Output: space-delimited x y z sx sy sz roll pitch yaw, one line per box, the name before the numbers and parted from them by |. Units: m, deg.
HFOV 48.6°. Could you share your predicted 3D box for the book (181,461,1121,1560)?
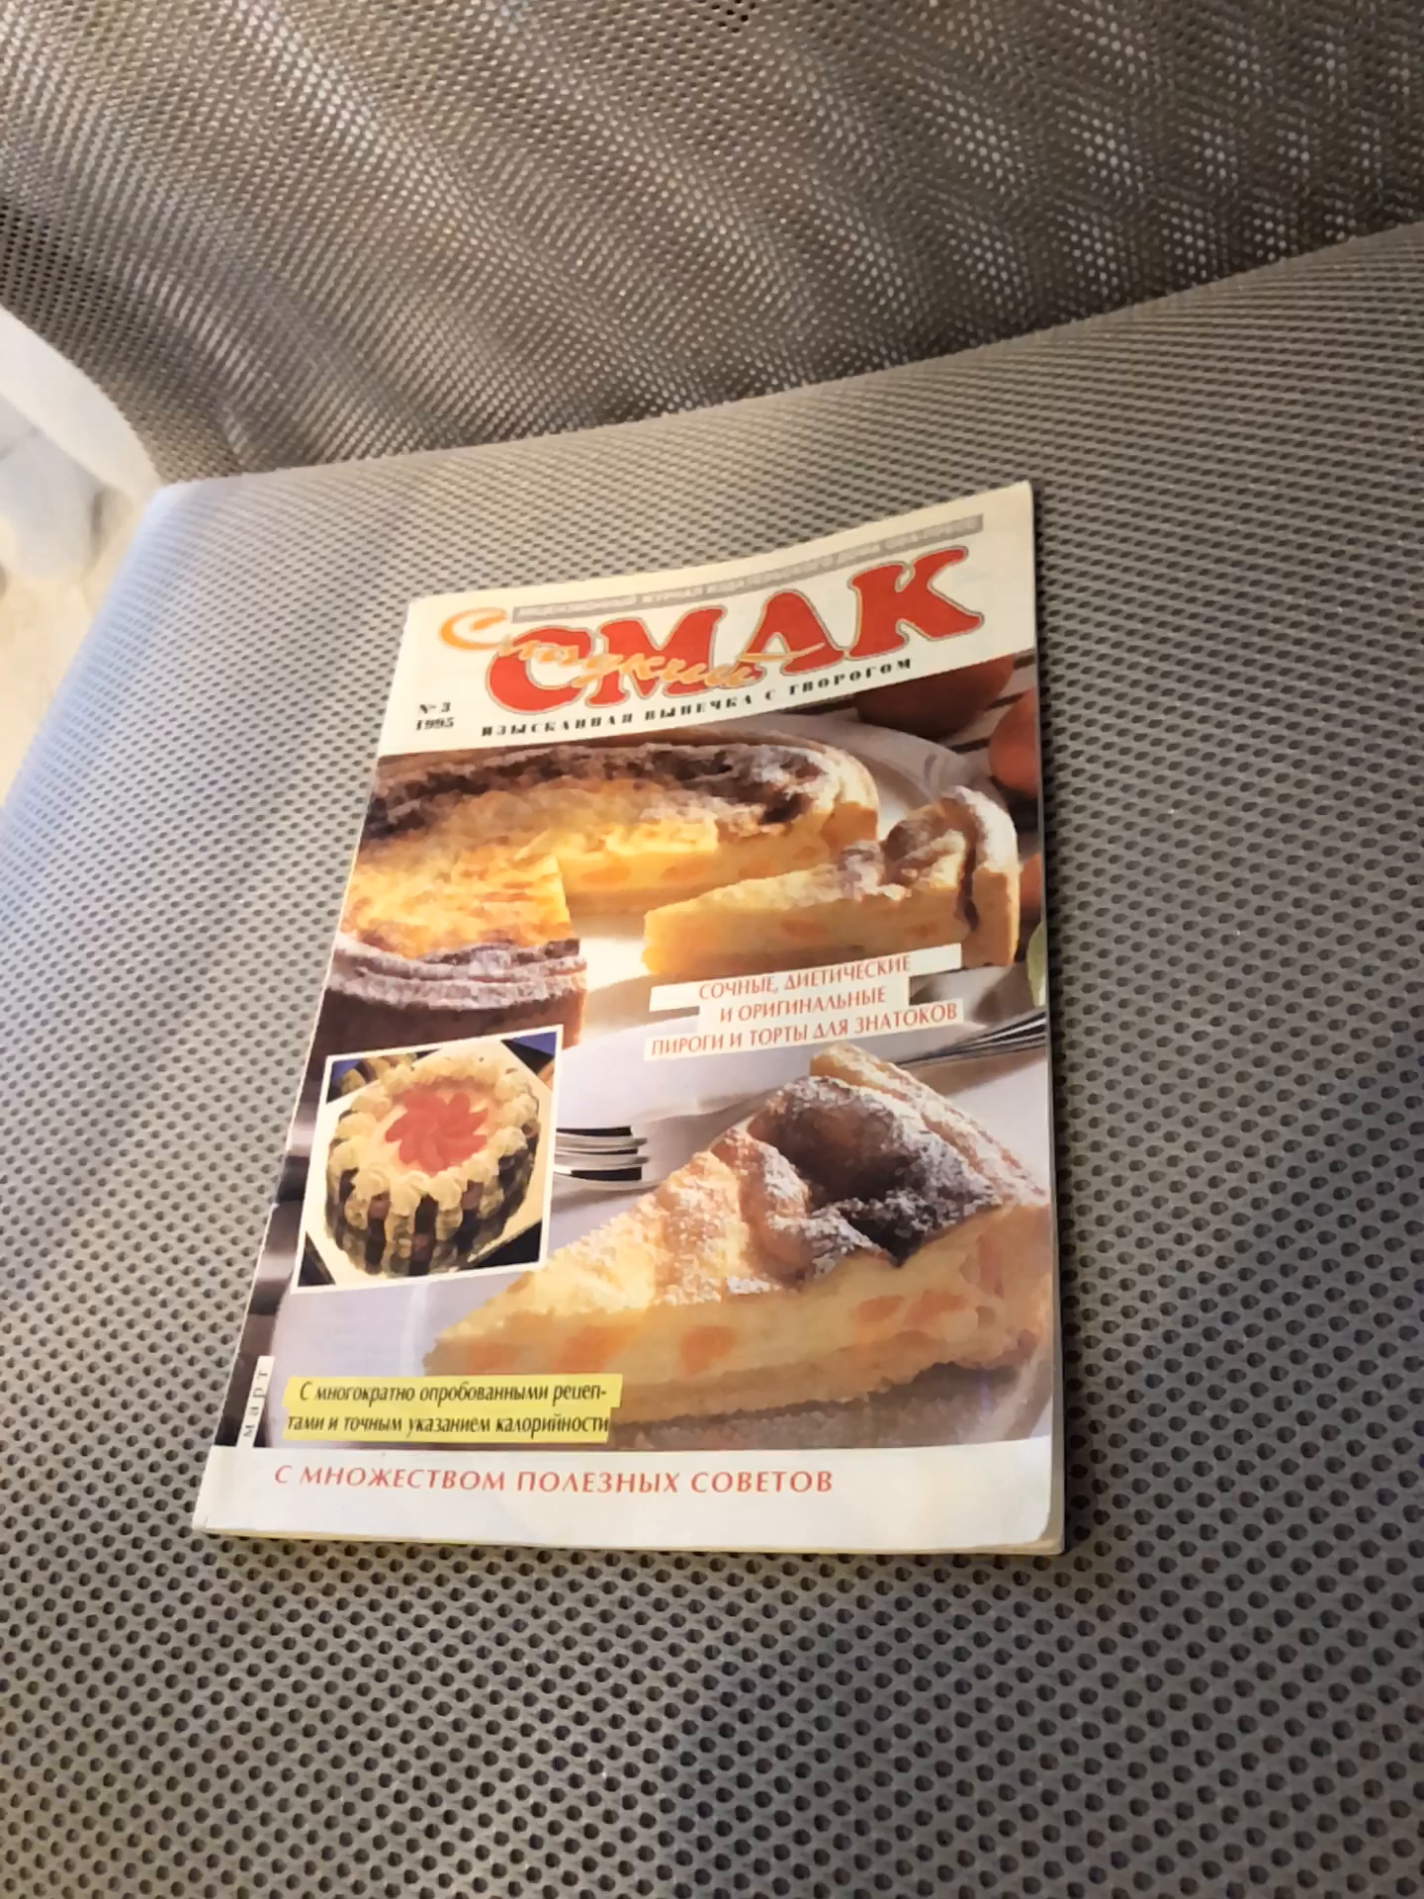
book | -0.011 0.003 0.331 0.174 0.010 0.232 -7 59 20
